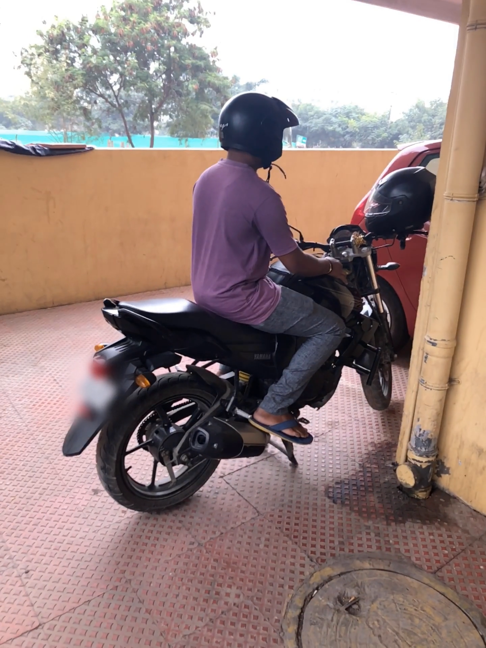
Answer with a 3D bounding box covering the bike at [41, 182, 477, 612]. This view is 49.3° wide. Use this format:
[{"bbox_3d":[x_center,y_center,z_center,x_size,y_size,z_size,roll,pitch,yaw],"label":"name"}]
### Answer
[{"bbox_3d":[0.195,0.043,2.486,0.855,1.156,1.909,20,28,41],"label":"bike"}]
